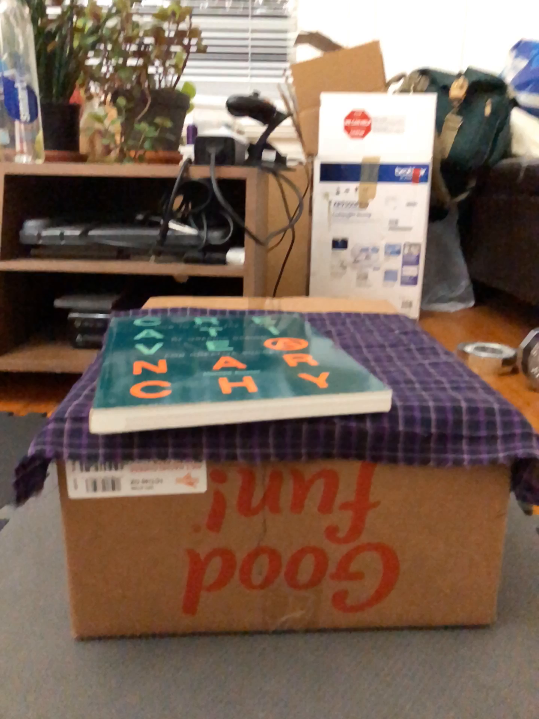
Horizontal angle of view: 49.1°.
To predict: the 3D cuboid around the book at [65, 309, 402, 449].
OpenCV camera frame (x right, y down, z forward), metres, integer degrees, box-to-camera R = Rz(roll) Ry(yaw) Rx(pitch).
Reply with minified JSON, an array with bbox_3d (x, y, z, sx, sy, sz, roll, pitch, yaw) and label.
[{"bbox_3d":[-0.048,-0.002,0.527,0.220,0.020,0.301,-3,17,-12],"label":"book"}]
